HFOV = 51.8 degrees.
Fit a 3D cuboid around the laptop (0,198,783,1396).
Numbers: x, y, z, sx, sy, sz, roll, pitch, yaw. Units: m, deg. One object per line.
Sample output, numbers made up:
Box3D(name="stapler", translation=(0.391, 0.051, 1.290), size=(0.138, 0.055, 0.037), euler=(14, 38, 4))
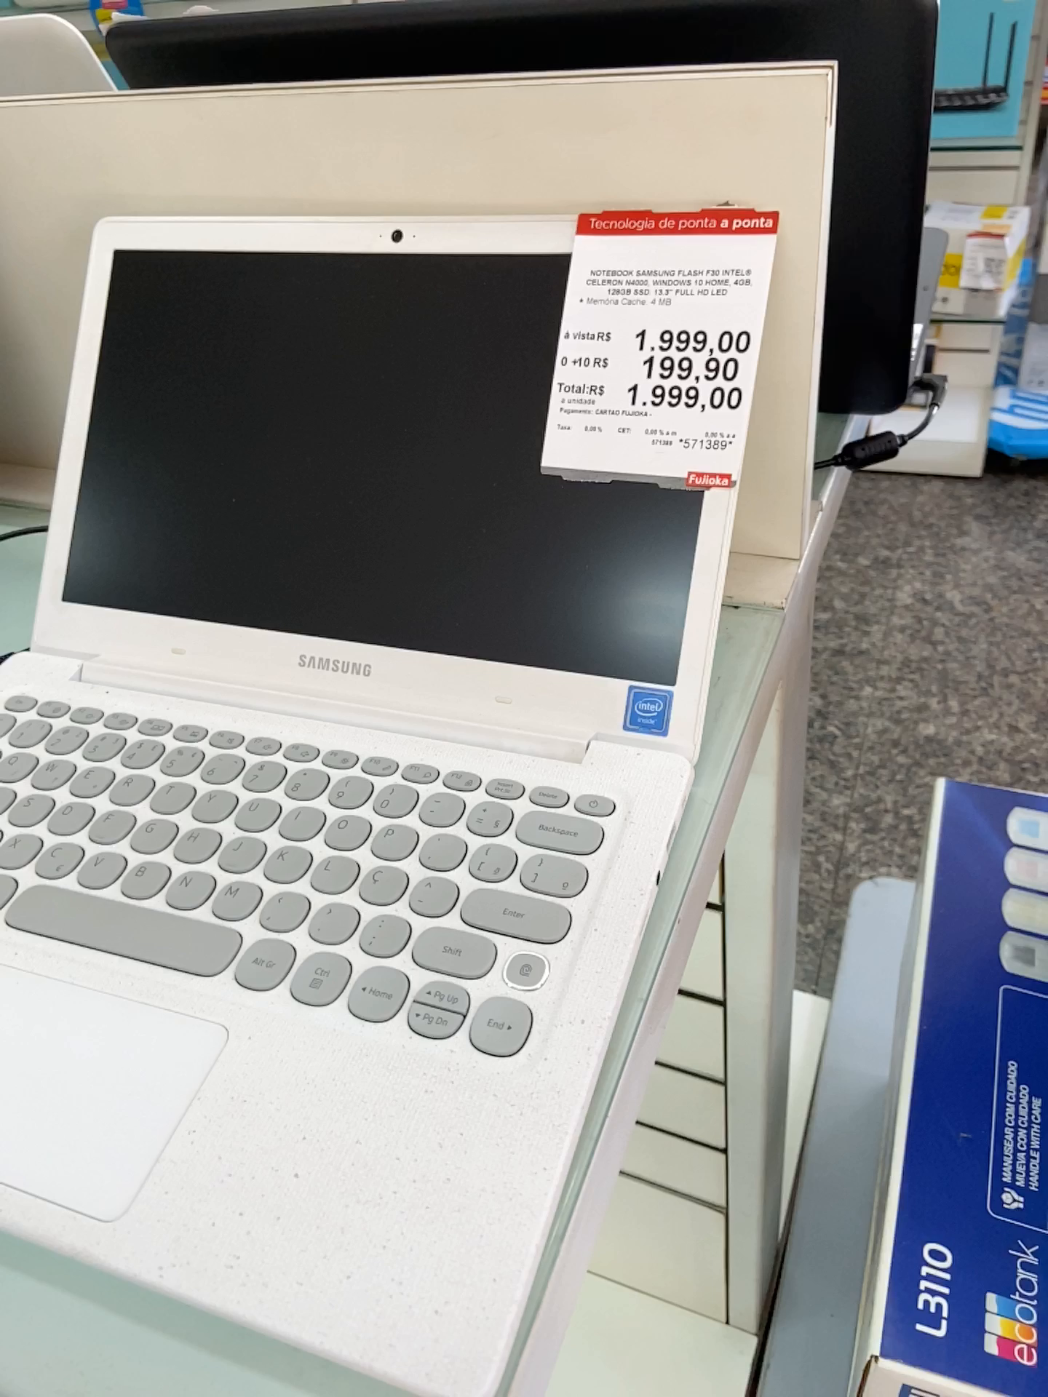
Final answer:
Box3D(name="laptop", translation=(-0.103, -0.032, 0.376), size=(0.314, 0.140, 0.362), euler=(8, 45, 20))
